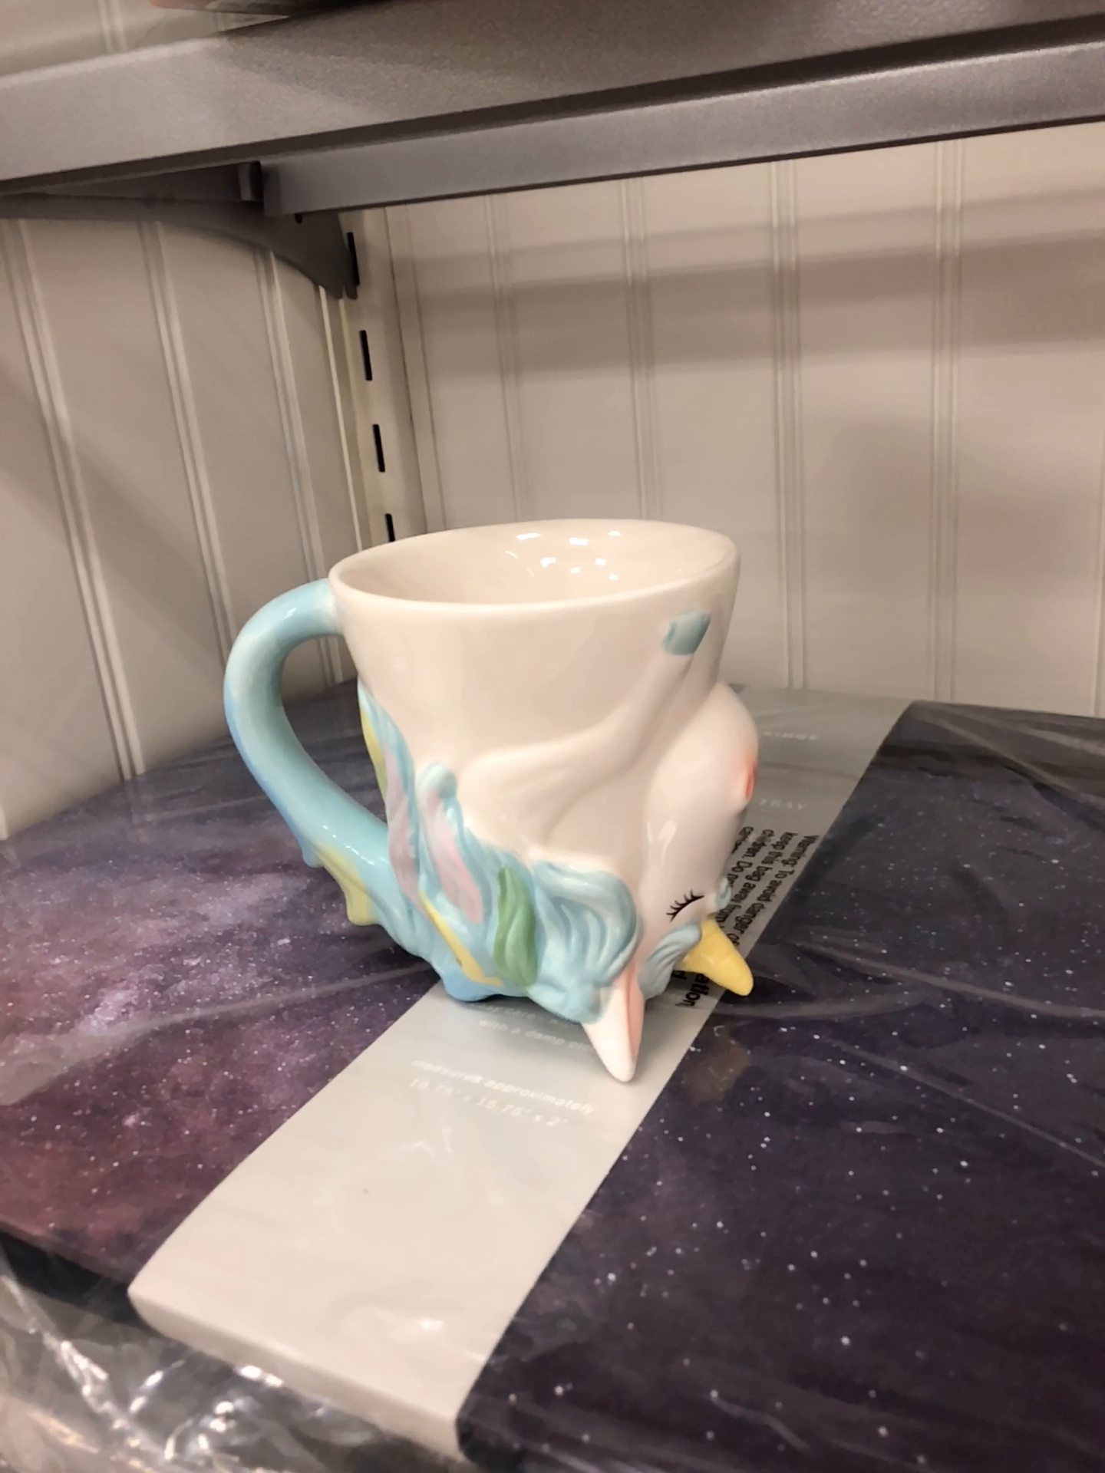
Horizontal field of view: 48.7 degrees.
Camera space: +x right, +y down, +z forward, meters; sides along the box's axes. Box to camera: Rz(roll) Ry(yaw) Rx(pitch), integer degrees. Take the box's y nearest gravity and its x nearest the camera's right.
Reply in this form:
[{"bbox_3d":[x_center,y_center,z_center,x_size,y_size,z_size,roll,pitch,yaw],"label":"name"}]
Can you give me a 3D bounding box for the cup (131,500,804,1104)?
[{"bbox_3d":[-0.010,0.009,0.323,0.140,0.118,0.101,1,21,16],"label":"cup"}]
